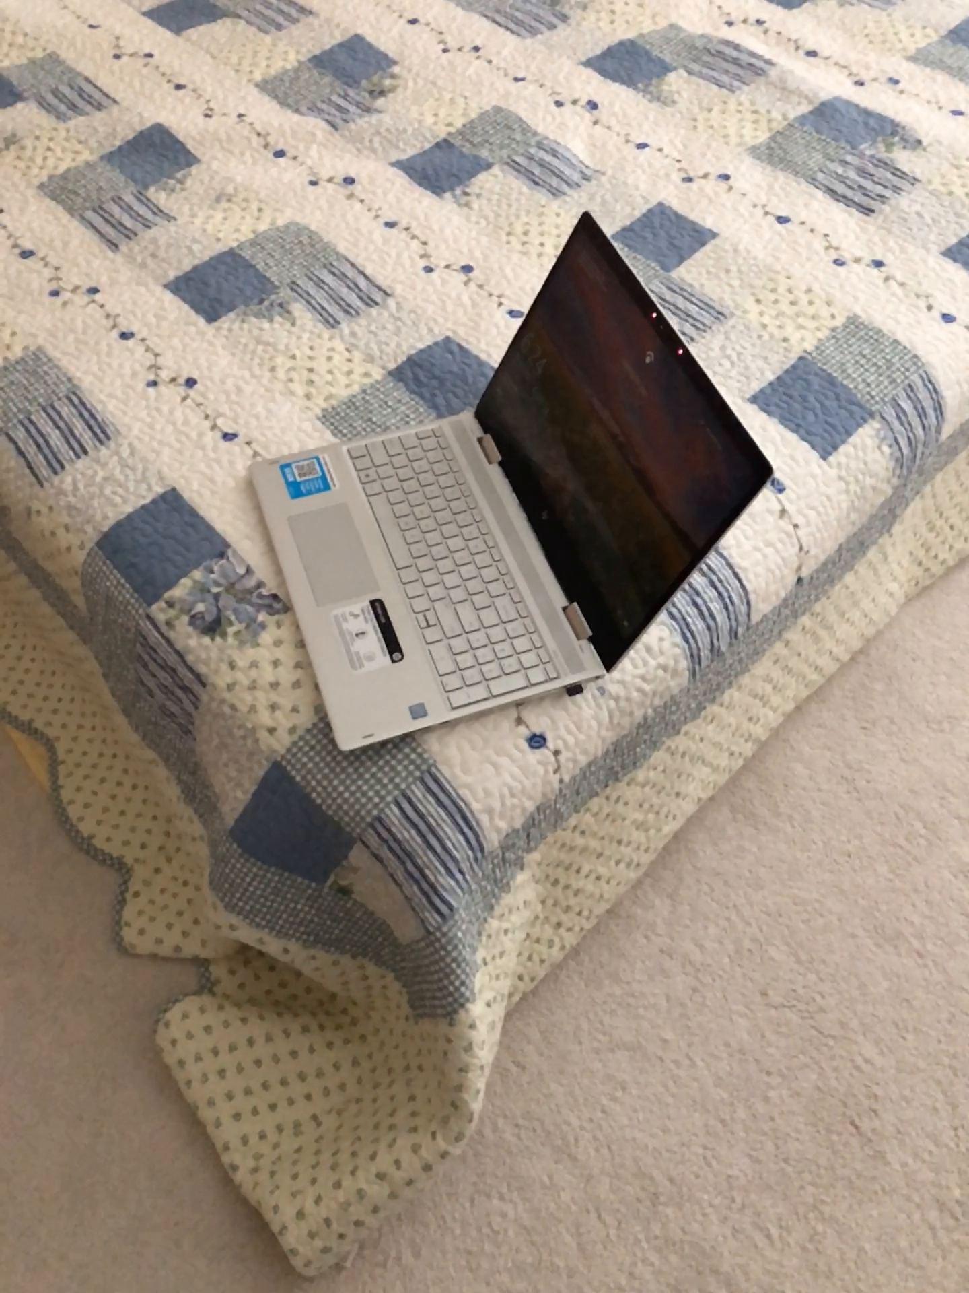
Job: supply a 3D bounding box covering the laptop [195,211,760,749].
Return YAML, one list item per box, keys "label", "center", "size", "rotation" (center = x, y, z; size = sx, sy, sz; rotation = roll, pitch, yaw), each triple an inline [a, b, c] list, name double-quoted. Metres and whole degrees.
- label: "laptop"
  center: [-0.018, -0.160, 0.946]
  size: [0.357, 0.208, 0.356]
  rotation: [-16, 56, -11]
